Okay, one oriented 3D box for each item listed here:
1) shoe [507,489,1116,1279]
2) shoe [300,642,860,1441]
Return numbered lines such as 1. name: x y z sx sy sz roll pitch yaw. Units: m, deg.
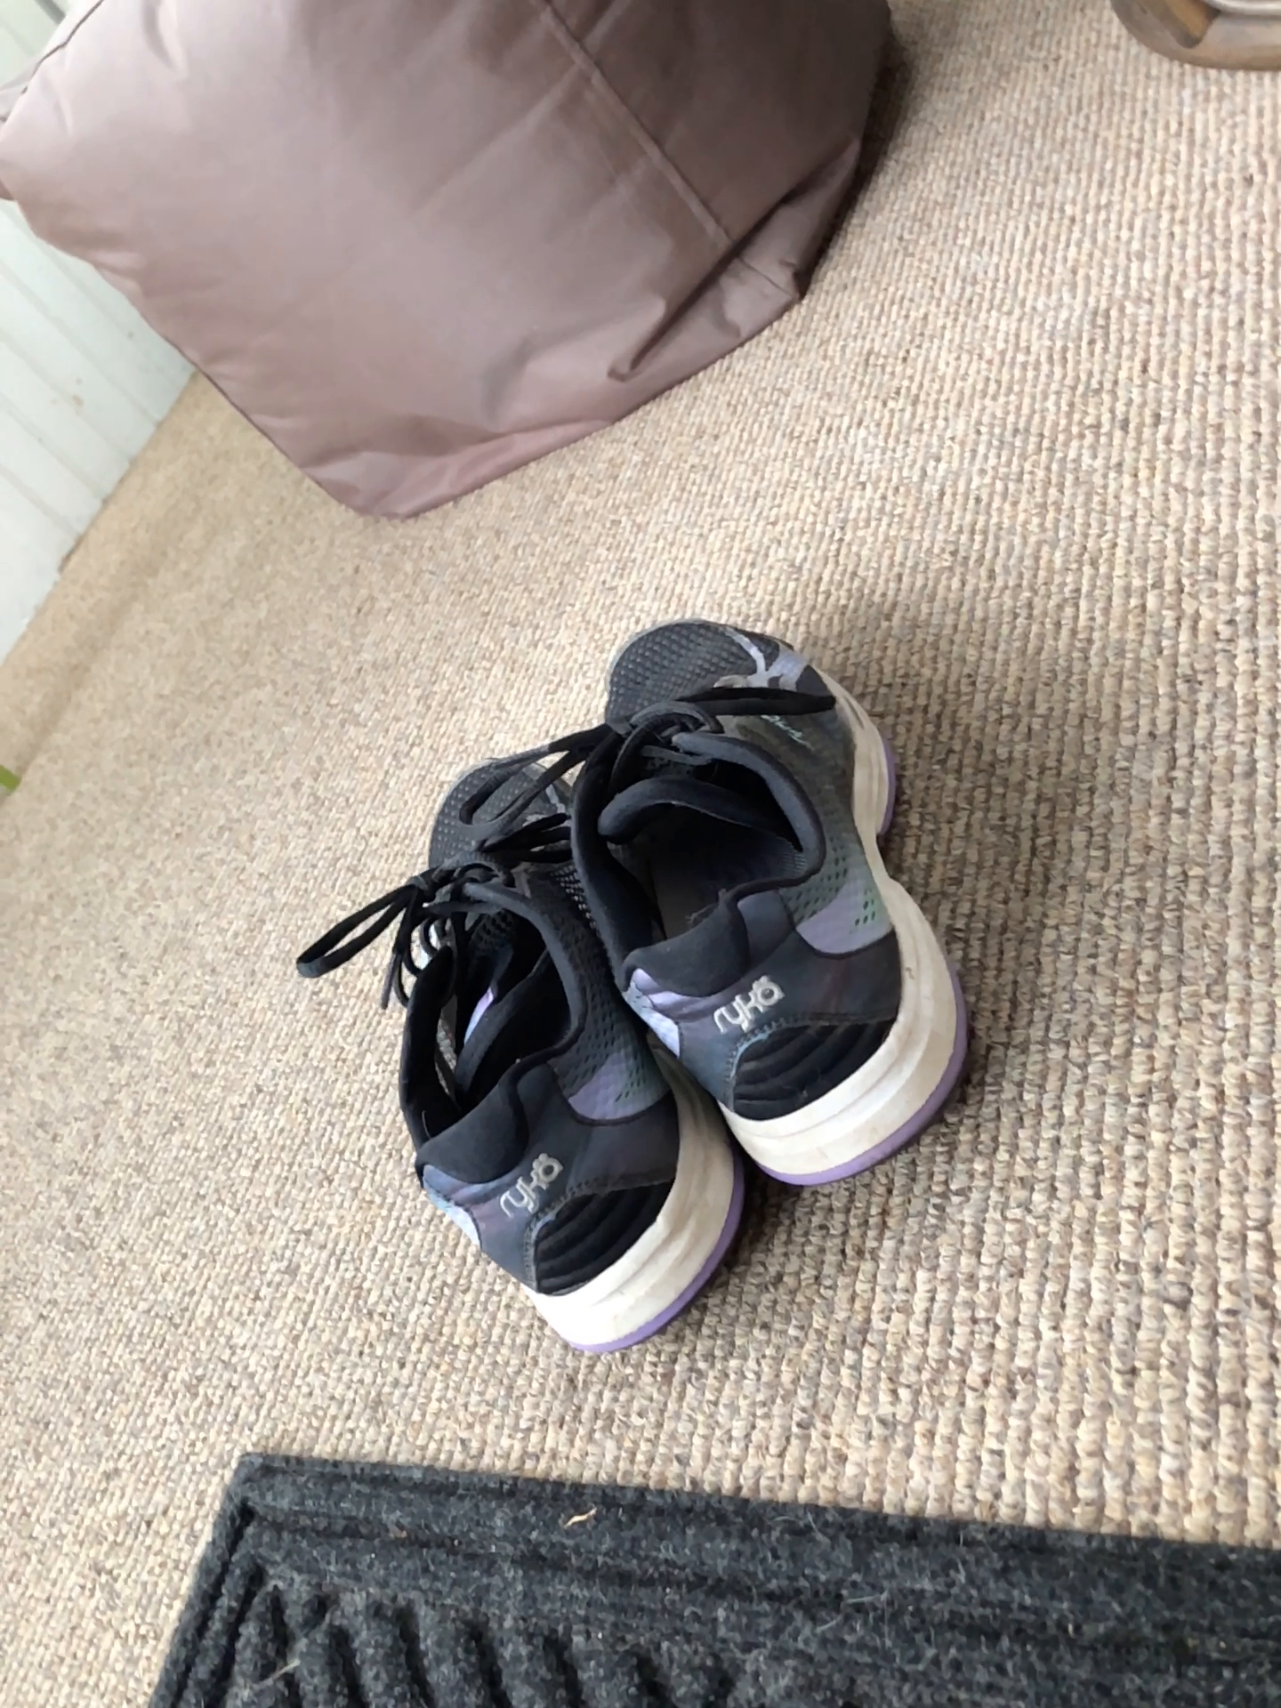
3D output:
1. shoe: 0.040 -0.007 0.485 0.102 0.103 0.258 -35 36 13
2. shoe: -0.038 0.048 0.504 0.110 0.103 0.258 -37 35 10
